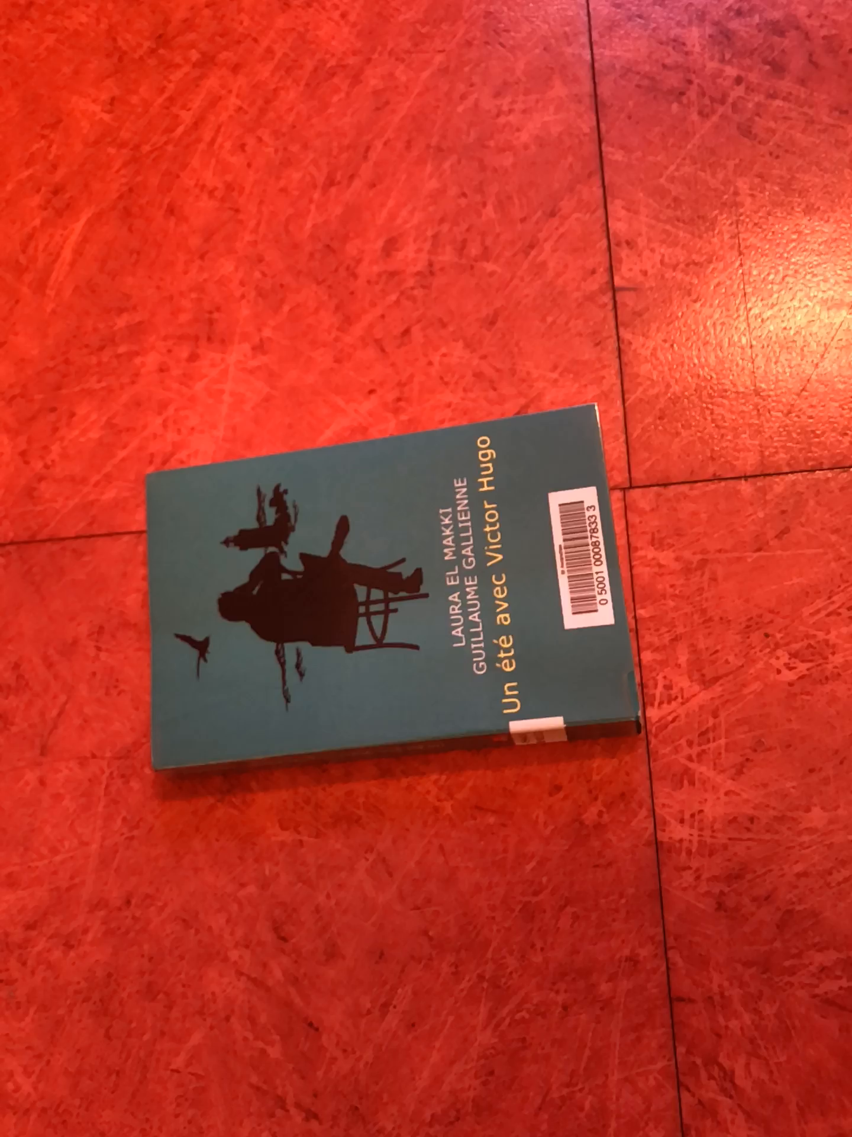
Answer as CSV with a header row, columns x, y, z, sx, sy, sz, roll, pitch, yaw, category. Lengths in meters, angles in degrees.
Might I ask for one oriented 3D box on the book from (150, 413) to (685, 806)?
x,y,z,sx,sy,sz,roll,pitch,yaw,category
-0.009,0.016,0.318,0.170,0.020,0.110,-7,76,10,book
